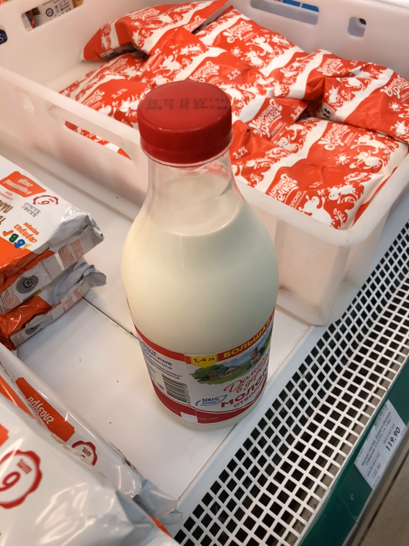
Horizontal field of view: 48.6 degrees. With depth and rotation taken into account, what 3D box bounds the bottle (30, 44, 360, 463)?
[{"bbox_3d":[0.003,0.012,0.291,0.100,0.249,0.100,-2,52,2],"label":"bottle"}]
